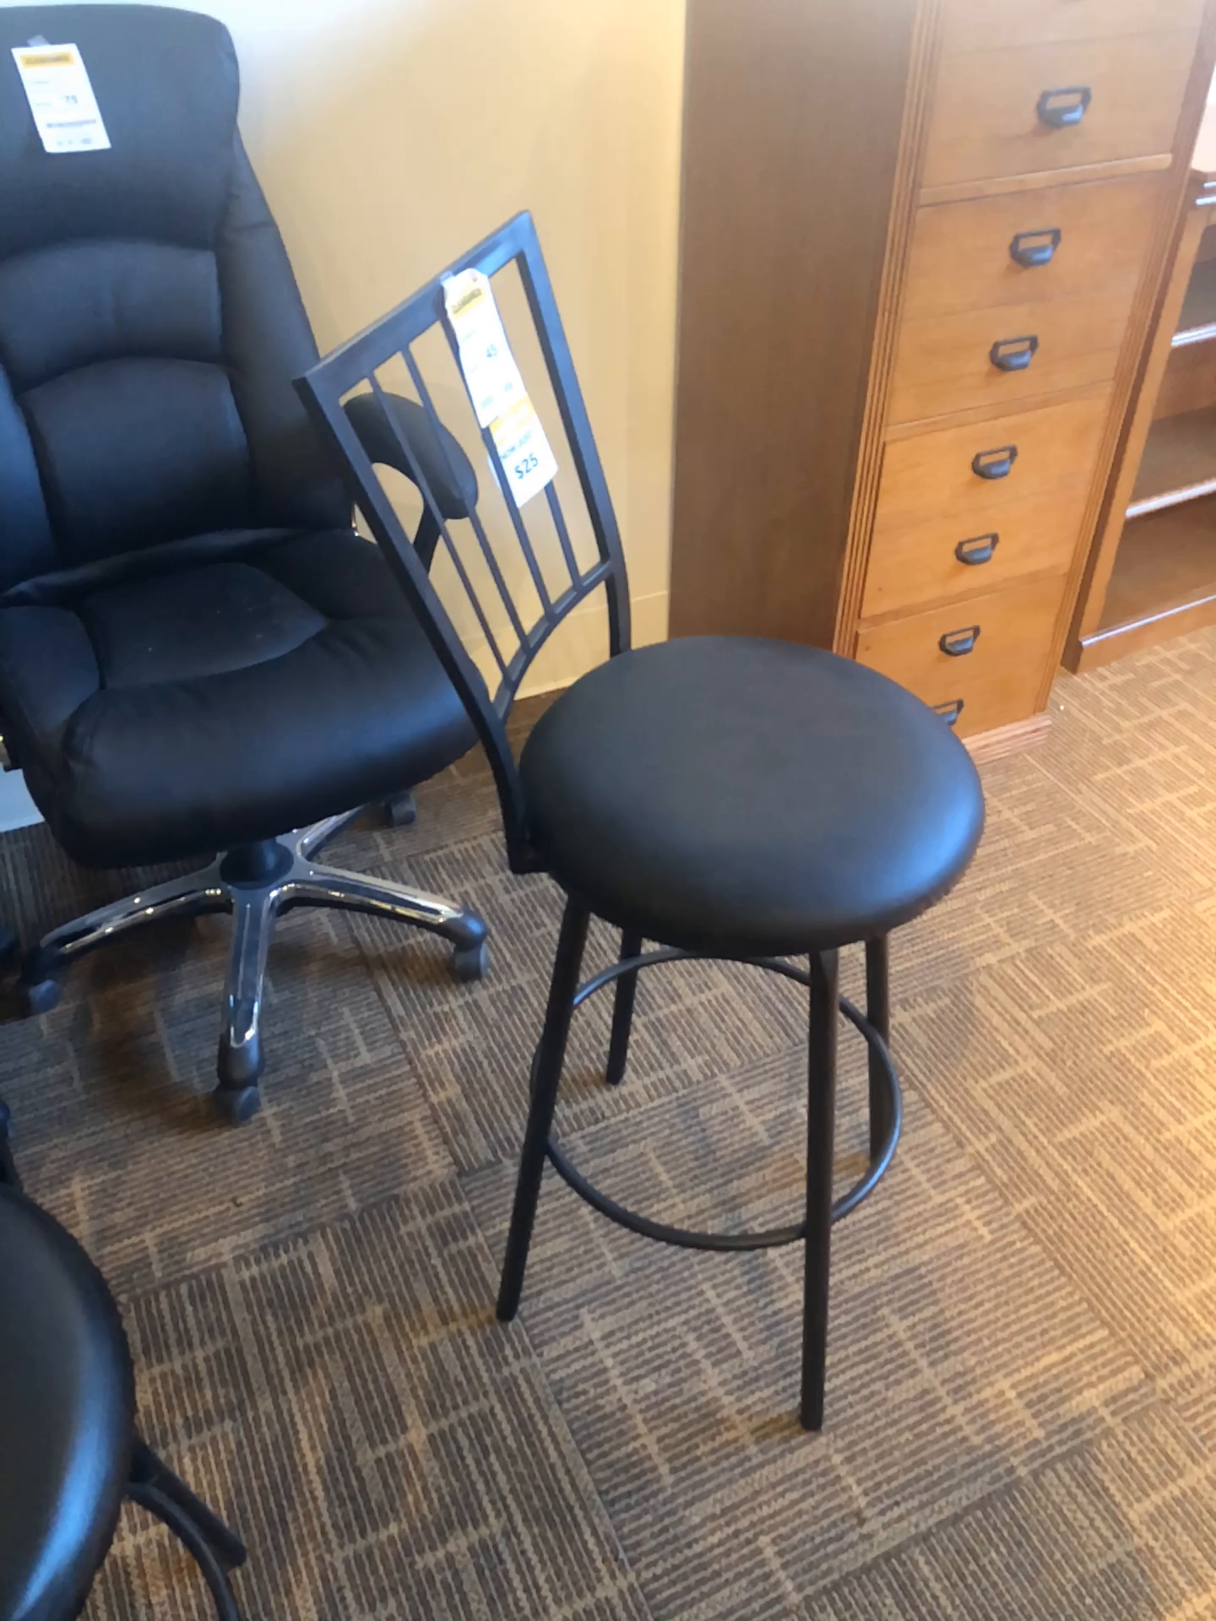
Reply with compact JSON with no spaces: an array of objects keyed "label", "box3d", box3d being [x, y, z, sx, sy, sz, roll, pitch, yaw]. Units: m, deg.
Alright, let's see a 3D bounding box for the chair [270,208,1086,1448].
[{"label":"chair","box3d":[0.082,0.072,1.259,0.480,1.074,0.432,11,40,13]}]
